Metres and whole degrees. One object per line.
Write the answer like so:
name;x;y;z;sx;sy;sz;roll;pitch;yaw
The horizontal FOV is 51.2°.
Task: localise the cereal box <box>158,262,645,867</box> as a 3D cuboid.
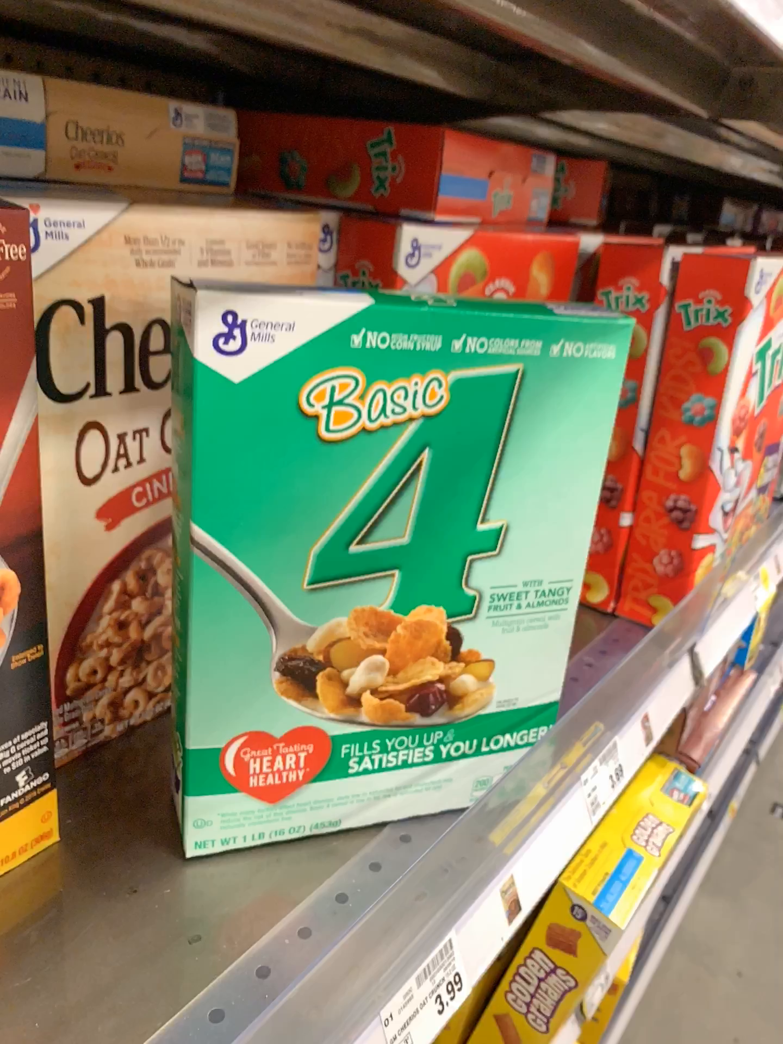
cereal box;-0.003;0.022;0.386;0.200;0.259;0.050;-2;21;-22
